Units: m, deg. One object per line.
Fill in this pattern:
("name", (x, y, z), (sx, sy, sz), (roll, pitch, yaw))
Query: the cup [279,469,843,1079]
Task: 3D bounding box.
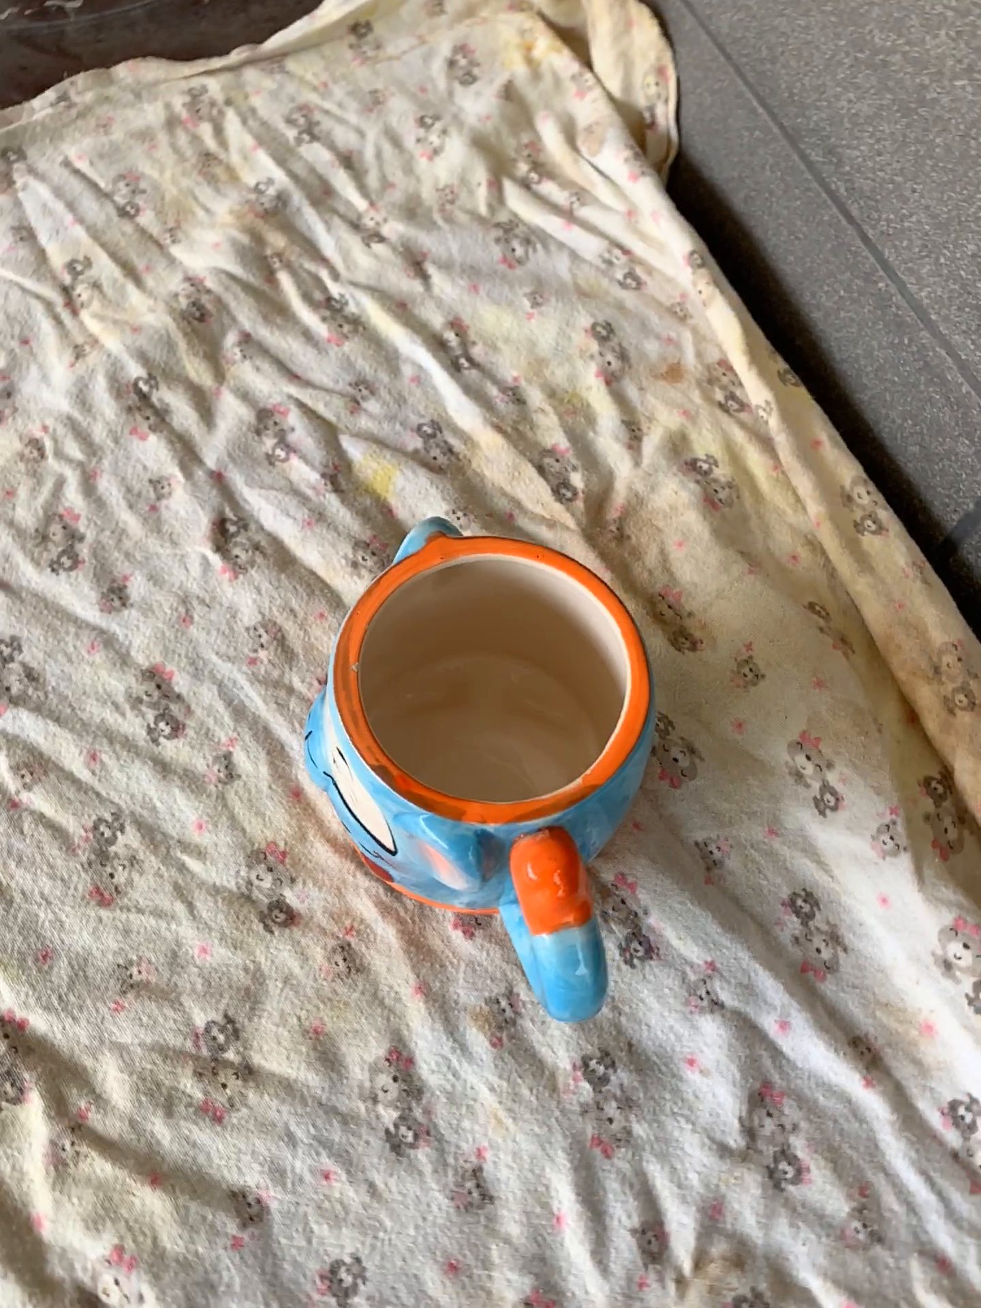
("cup", (0.008, 0.033, 0.254), (0.090, 0.090, 0.110), (-13, 66, -11))
